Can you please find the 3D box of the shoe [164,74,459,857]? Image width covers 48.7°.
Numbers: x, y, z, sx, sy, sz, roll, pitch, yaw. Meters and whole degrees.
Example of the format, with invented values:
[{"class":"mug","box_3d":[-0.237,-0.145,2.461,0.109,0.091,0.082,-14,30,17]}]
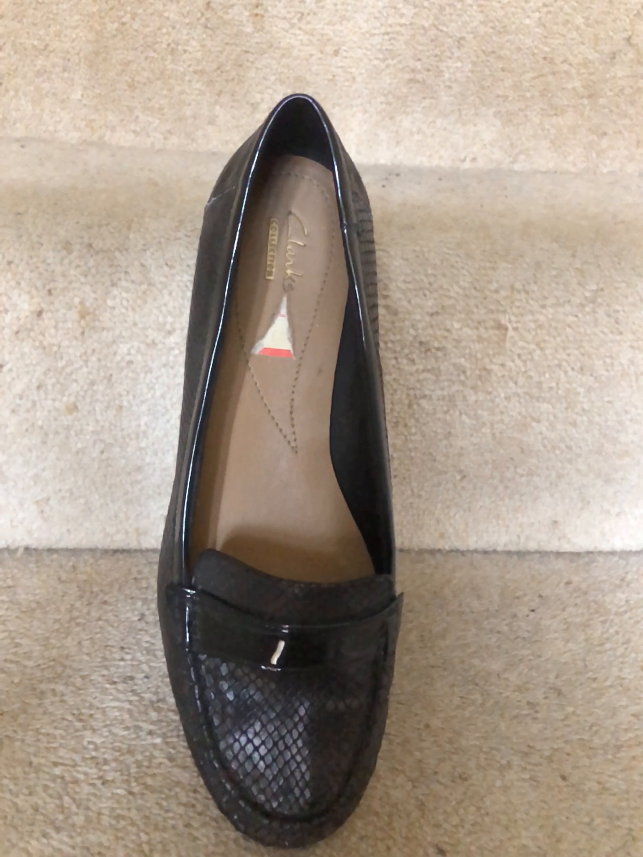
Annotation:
[{"class":"shoe","box_3d":[-0.008,0.016,0.273,0.090,0.260,0.070,2,0,-11]}]
